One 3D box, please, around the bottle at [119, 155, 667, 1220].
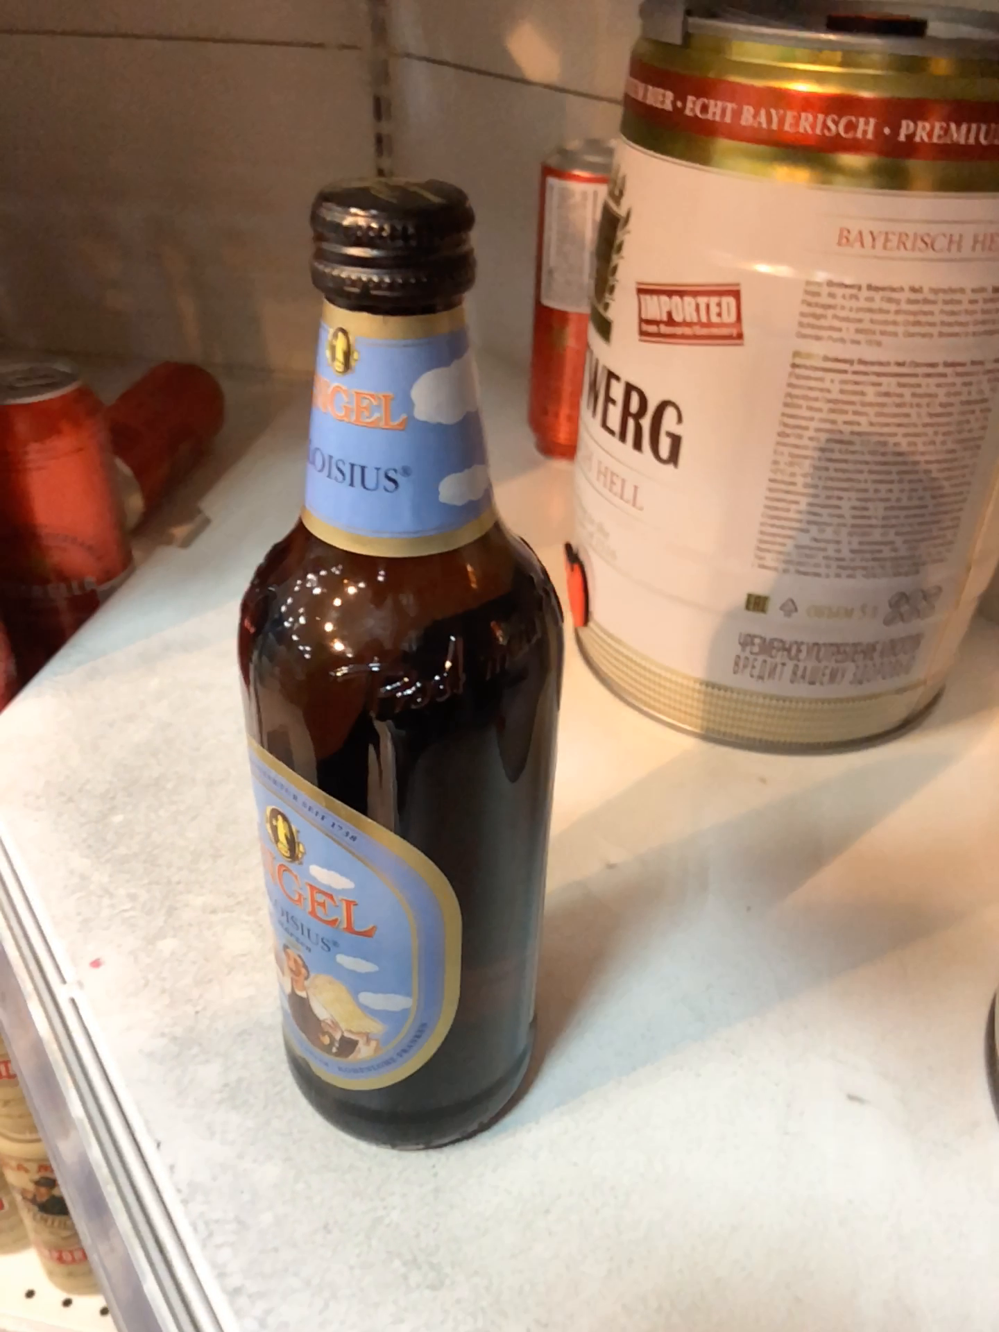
[{"bbox_3d":[-0.021,0.016,0.243,0.060,0.219,0.070,-23,41,-31],"label":"bottle"}]
